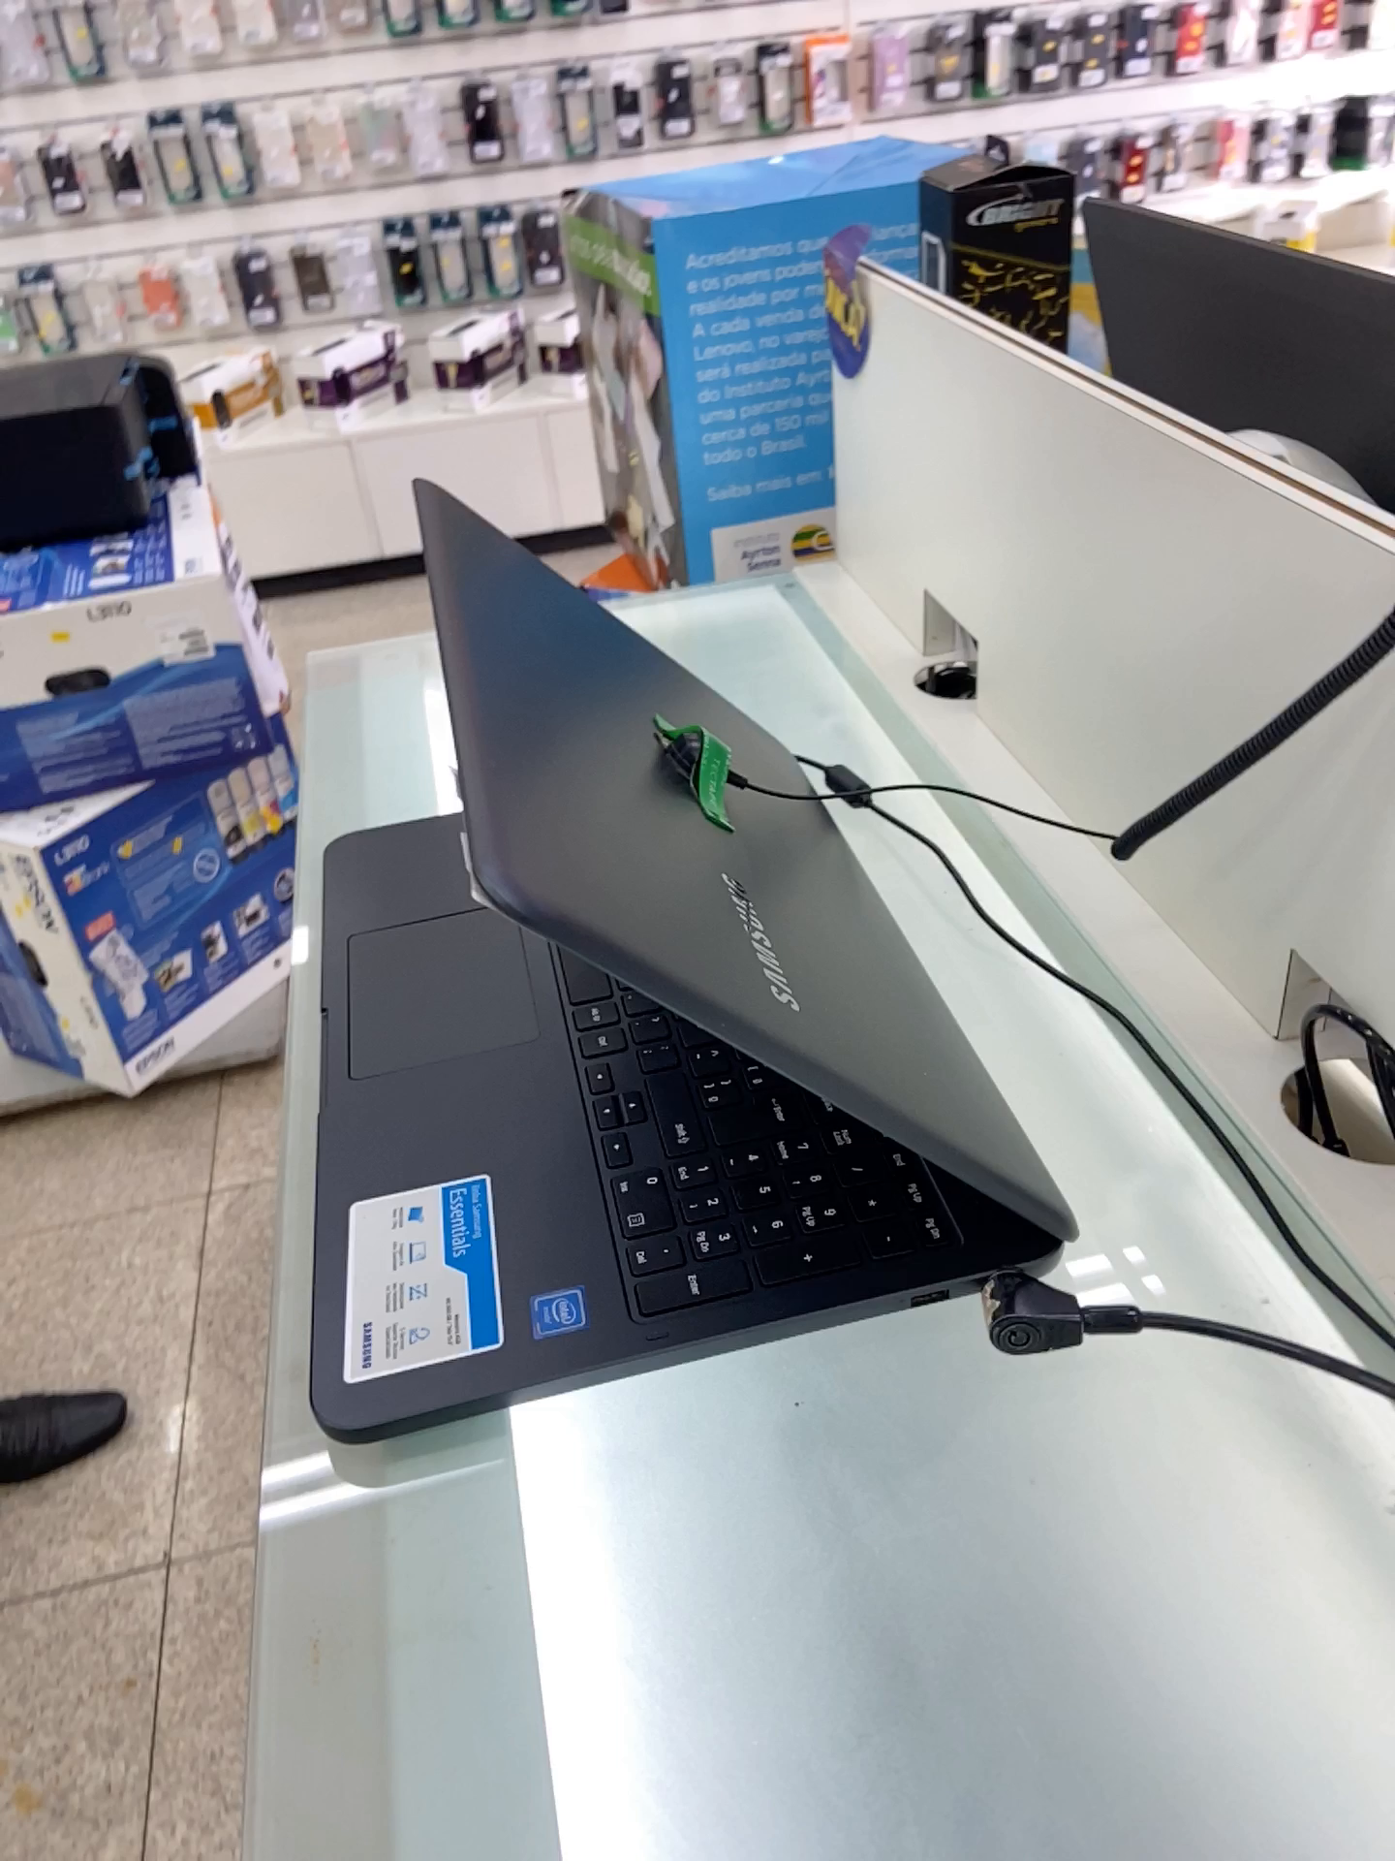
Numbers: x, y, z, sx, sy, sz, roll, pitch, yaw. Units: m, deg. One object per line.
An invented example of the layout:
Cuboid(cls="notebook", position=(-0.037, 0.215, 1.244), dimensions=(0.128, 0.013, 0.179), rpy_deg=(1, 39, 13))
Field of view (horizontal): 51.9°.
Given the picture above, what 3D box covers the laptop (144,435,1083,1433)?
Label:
Cuboid(cls="laptop", position=(-0.046, -0.041, 0.566), dimensions=(0.245, 0.173, 0.374), rpy_deg=(-12, 34, -7))
